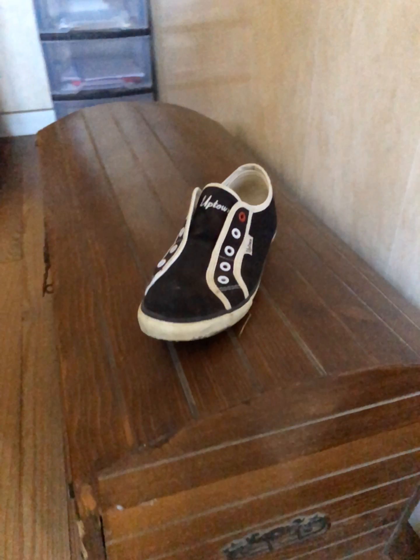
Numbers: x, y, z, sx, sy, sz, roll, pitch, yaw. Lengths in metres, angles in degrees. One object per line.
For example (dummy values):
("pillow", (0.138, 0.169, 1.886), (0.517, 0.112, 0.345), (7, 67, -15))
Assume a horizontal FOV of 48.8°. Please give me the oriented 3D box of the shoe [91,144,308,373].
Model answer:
("shoe", (0.009, -0.040, 0.429), (0.100, 0.080, 0.242), (13, 39, 19))
